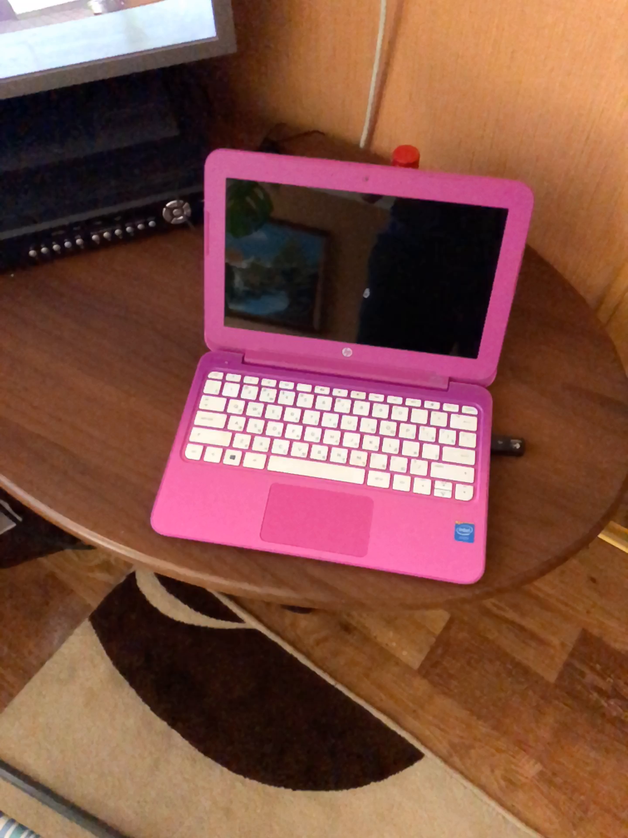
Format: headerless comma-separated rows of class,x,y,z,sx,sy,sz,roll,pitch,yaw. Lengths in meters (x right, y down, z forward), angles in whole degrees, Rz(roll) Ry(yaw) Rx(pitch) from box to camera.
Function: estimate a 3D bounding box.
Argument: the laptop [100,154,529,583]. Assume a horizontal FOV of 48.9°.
laptop,0.020,-0.050,0.585,0.279,0.150,0.296,8,60,6
